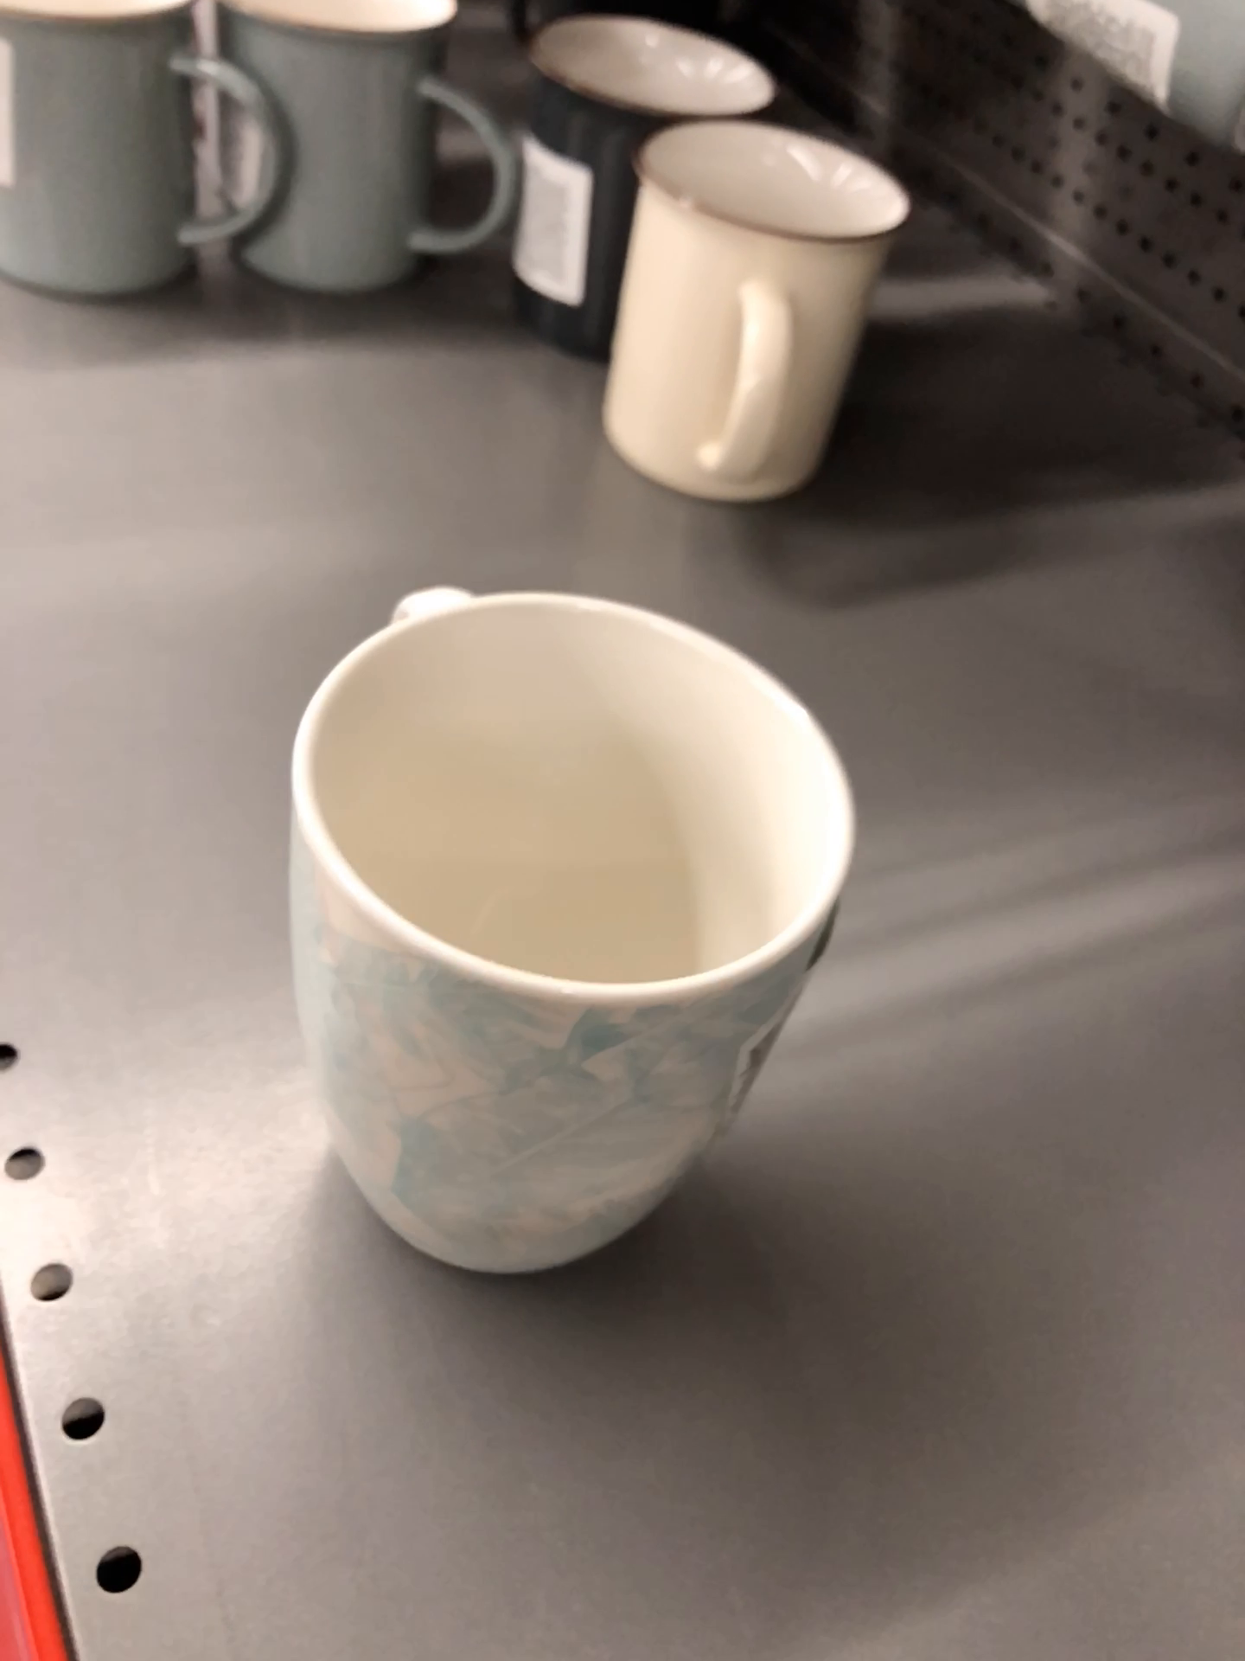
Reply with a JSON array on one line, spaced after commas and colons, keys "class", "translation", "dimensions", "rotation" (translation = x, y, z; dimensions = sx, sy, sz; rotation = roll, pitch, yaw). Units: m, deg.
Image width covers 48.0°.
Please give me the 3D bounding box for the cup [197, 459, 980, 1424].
[{"class": "cup", "translation": [-0.018, 0.015, 0.247], "dimensions": [0.083, 0.098, 0.121], "rotation": [-11, 50, -19]}]
